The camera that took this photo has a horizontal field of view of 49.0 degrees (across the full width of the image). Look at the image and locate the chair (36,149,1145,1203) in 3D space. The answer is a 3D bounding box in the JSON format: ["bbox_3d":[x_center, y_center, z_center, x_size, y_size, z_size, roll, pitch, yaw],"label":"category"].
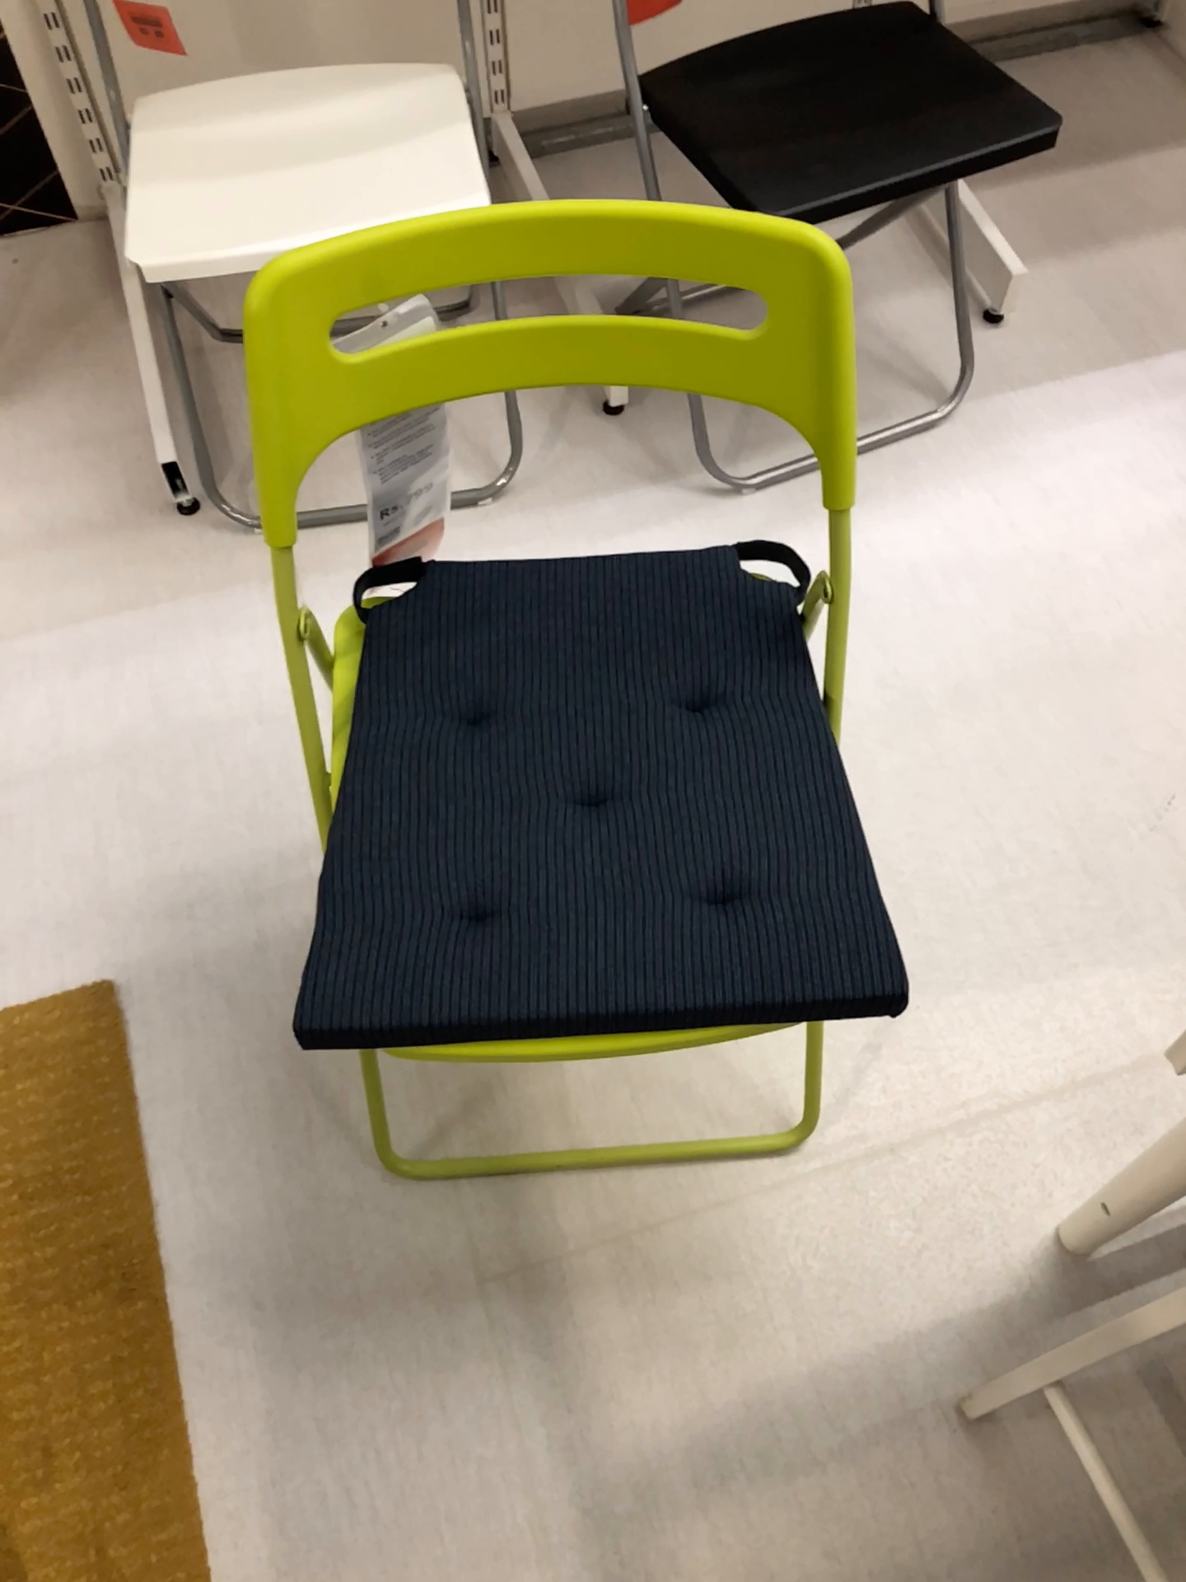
[{"bbox_3d":[-0.012,-0.026,0.966,0.490,0.637,0.462,-4,59,-2],"label":"chair"}]
